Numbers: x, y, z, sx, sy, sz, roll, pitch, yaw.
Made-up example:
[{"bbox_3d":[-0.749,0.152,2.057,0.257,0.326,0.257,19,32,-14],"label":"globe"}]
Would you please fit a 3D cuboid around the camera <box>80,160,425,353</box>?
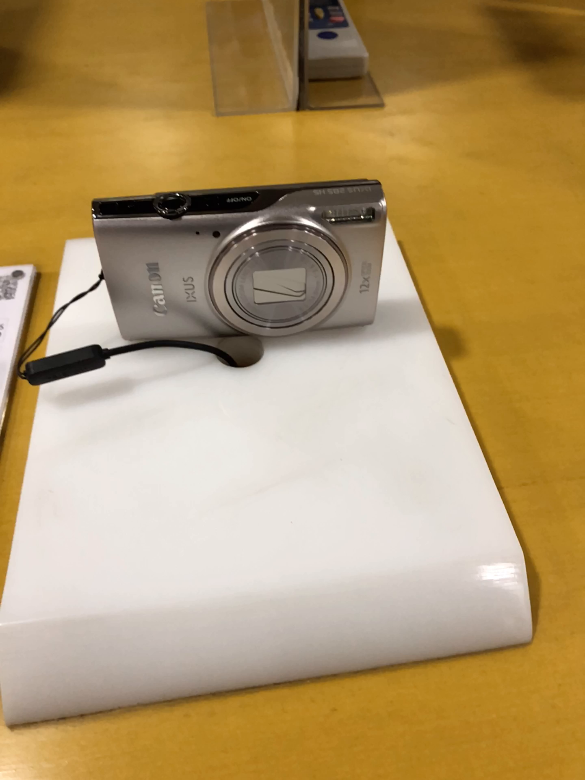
[{"bbox_3d":[-0.013,-0.047,0.237,0.110,0.060,0.020,-6,48,-5],"label":"camera"}]
